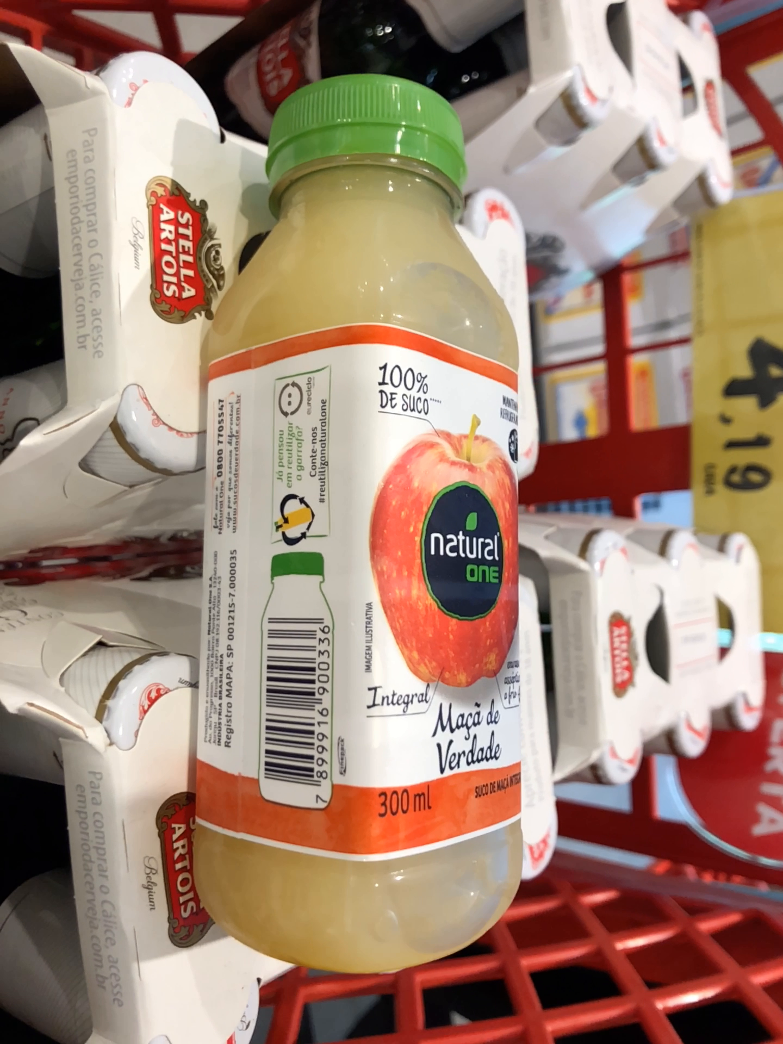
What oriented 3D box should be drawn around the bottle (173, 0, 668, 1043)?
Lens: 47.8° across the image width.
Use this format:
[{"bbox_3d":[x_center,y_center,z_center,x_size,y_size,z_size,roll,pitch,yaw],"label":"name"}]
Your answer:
[{"bbox_3d":[0.003,-0.017,0.166,0.060,0.060,0.180,3,82,-45],"label":"bottle"}]
